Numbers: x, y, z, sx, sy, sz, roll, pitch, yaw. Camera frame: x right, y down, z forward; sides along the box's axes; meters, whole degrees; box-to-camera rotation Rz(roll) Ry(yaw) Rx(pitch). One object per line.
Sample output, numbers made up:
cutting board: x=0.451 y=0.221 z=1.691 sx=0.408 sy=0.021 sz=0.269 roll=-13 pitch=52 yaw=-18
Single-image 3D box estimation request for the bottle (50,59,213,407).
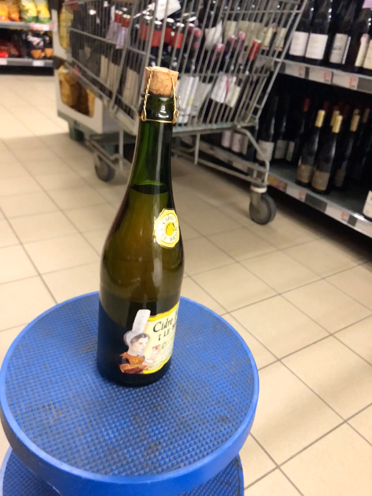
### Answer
bottle: x=-0.052 y=-0.006 z=0.385 sx=0.090 sy=0.298 sz=0.091 roll=5 pitch=28 yaw=-3
